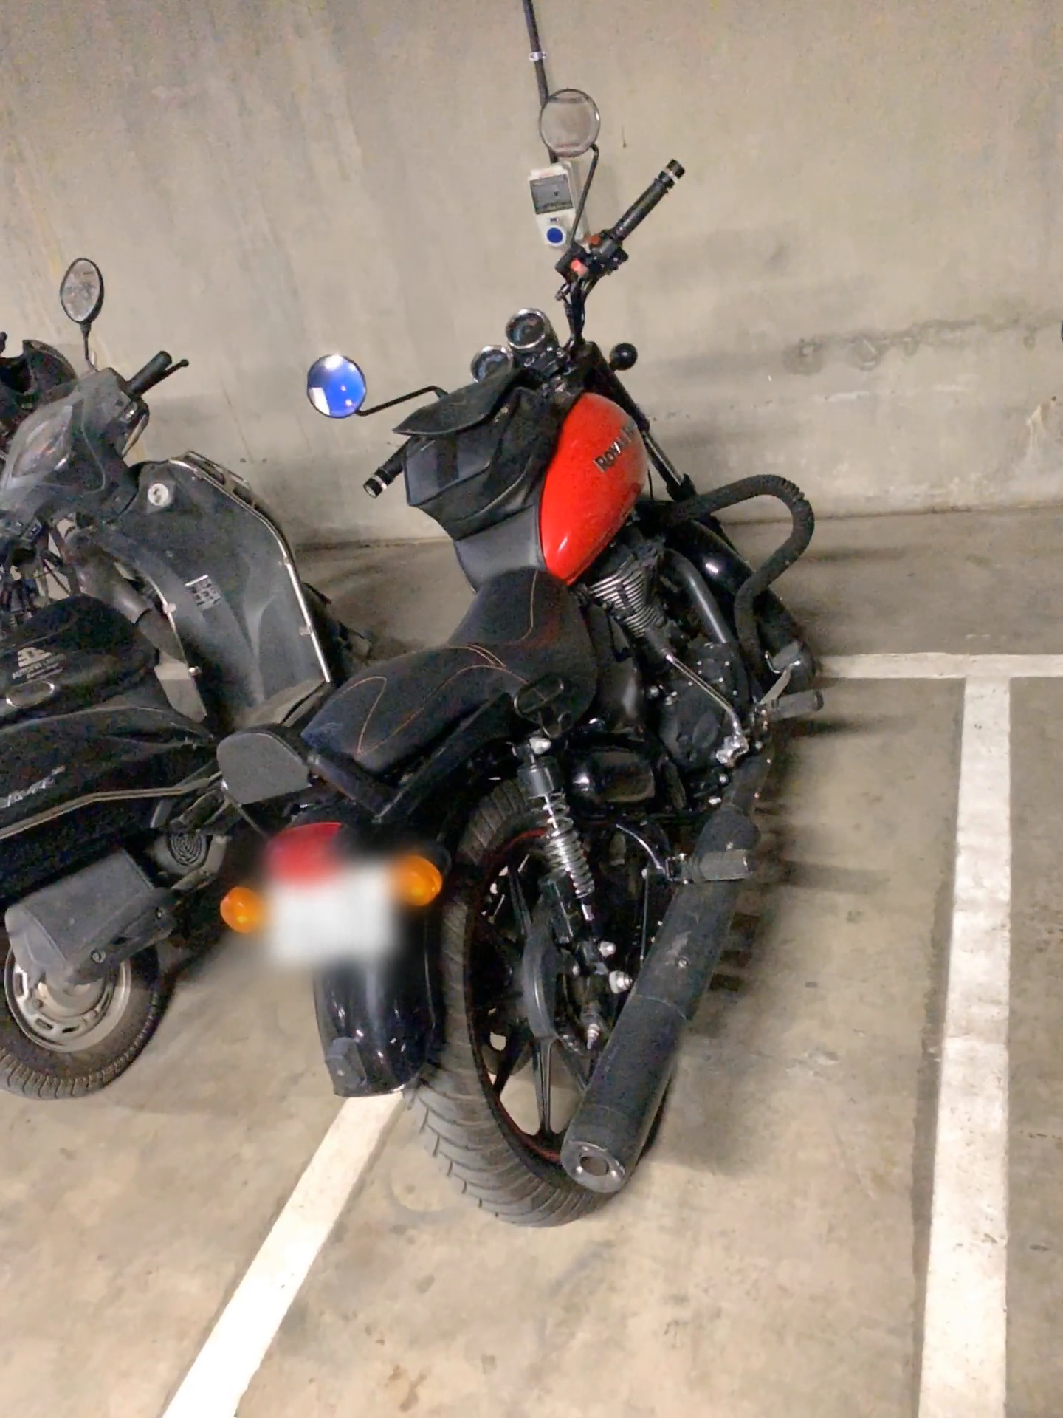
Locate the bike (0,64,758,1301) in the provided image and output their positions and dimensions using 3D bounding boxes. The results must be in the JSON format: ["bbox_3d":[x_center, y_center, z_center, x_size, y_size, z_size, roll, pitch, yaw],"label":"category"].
[{"bbox_3d":[-0.077,-0.259,2.033,0.829,1.301,1.843,-5,34,15],"label":"bike"}]
